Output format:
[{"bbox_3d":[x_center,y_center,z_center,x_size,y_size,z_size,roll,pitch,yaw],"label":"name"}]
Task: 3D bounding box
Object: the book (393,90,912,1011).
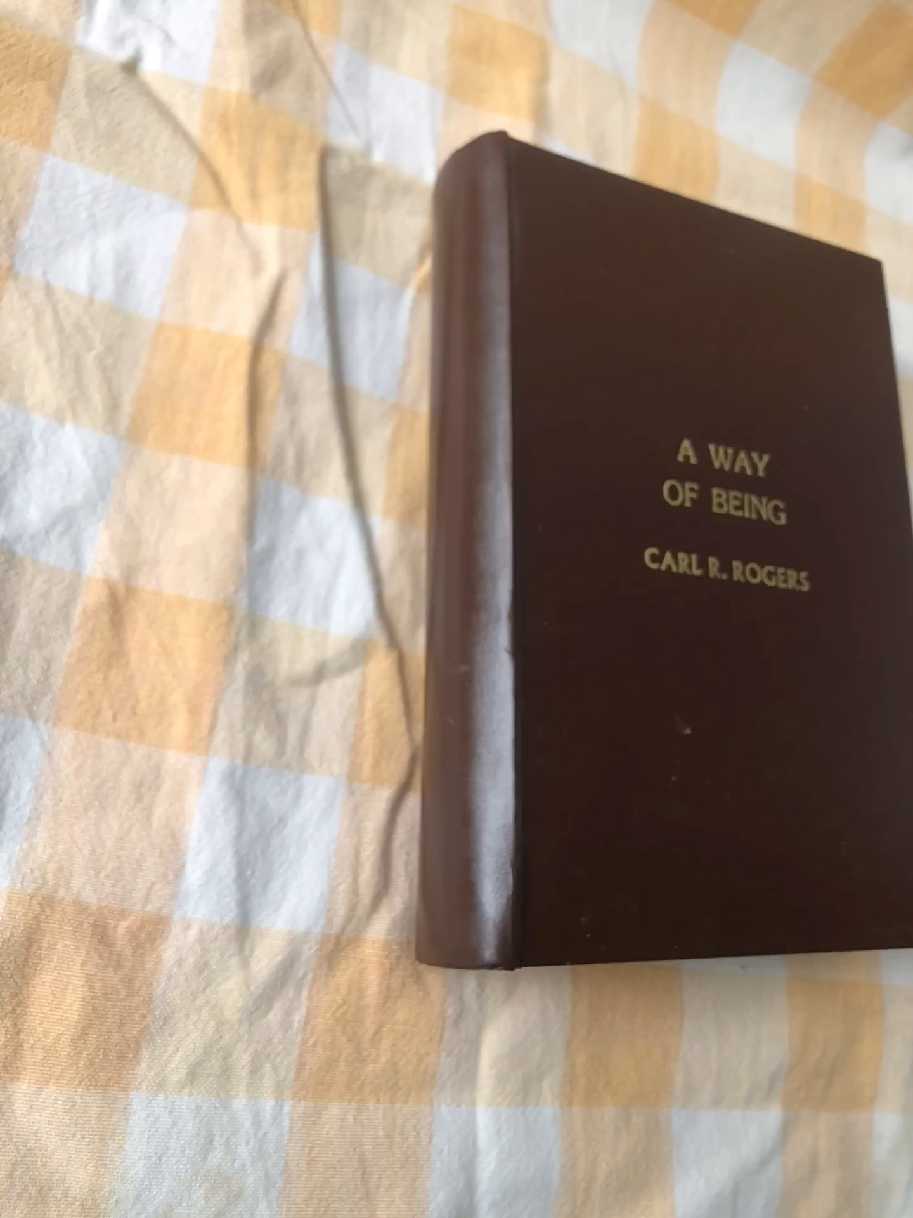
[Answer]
[{"bbox_3d":[0.061,-0.010,0.280,0.141,0.060,0.210,7,74,-24],"label":"book"}]
